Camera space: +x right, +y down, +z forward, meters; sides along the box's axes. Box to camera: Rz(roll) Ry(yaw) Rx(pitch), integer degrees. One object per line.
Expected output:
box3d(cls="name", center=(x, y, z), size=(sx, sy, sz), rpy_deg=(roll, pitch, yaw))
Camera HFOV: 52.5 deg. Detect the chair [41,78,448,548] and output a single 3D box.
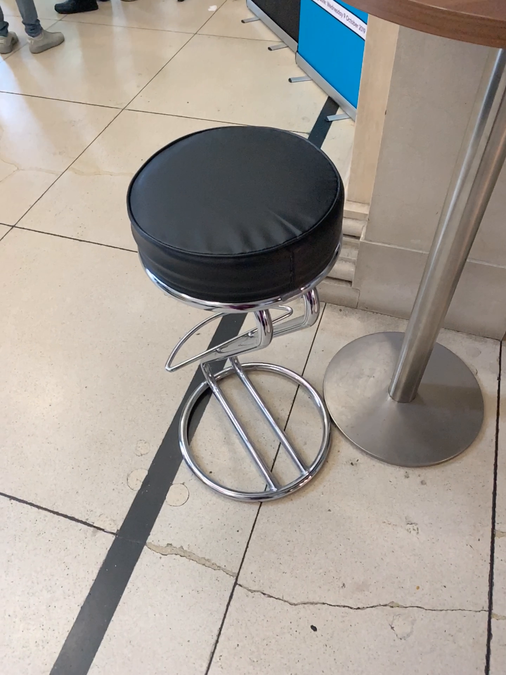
box3d(cls="chair", center=(-0.021, -0.008, 1.146), size=(0.465, 0.813, 0.506), rpy_deg=(-28, 55, -18))
